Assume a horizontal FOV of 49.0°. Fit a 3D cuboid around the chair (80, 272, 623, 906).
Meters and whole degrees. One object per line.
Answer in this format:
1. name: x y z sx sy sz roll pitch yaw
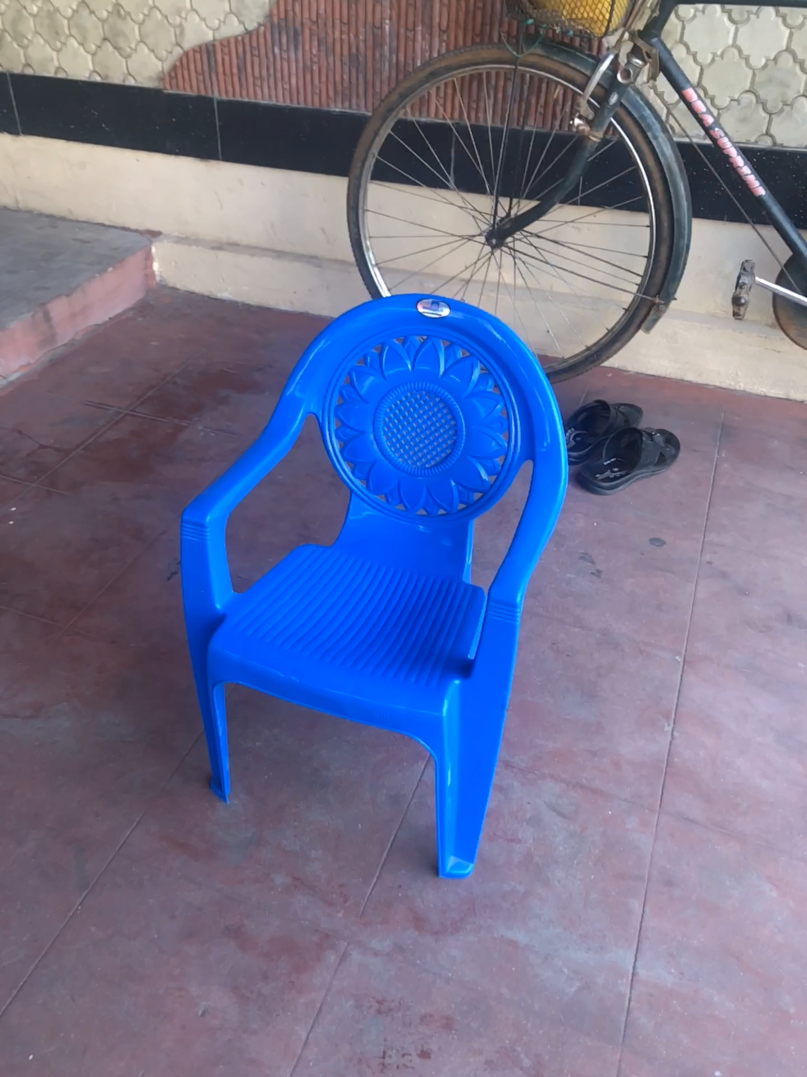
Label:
1. chair: -0.022 0.032 1.051 0.400 0.497 0.453 14 39 17
